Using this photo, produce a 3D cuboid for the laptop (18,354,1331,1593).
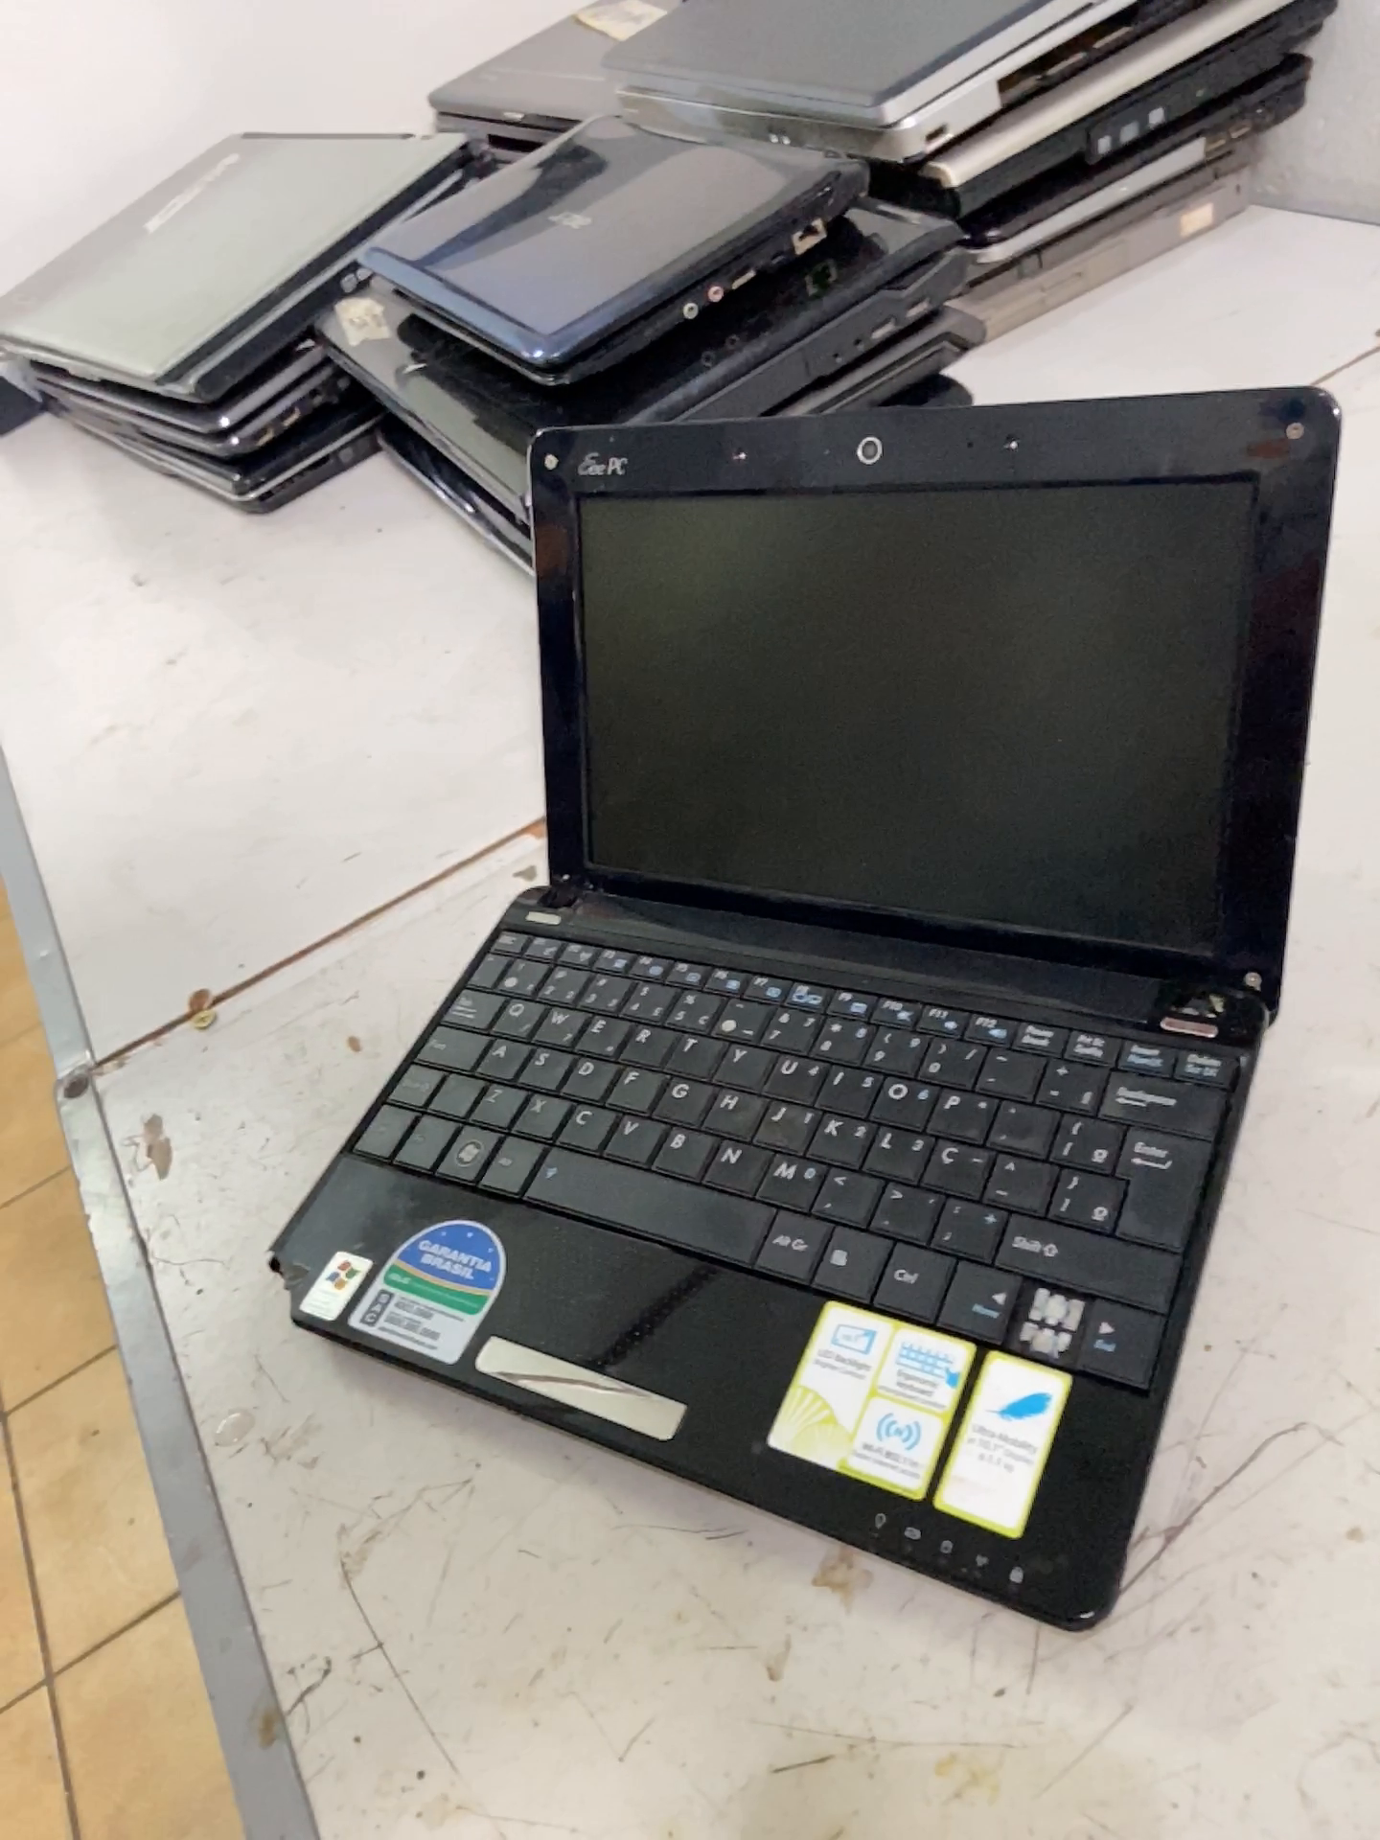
[{"bbox_3d":[0.016,-0.020,0.398,0.259,0.131,0.266,9,51,31],"label":"laptop"}]
